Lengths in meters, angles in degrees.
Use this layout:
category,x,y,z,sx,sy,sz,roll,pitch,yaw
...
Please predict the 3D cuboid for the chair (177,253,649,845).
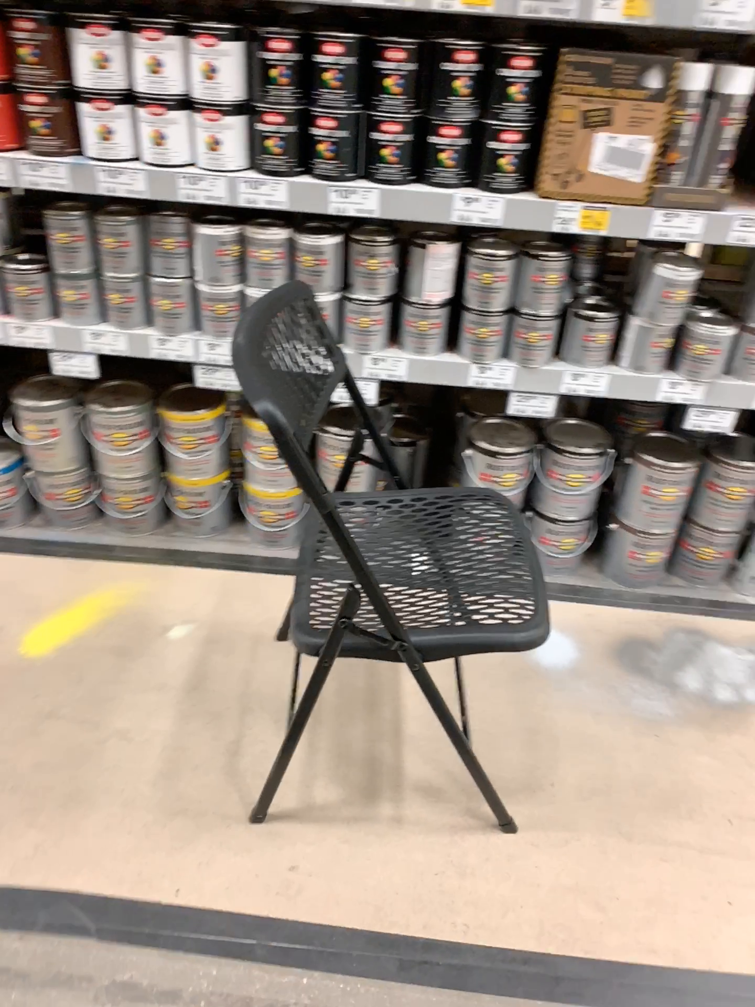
category,x,y,z,sx,sy,sz,roll,pitch,yaw
chair,0.020,0.086,1.284,0.515,0.814,0.521,3,35,-2
